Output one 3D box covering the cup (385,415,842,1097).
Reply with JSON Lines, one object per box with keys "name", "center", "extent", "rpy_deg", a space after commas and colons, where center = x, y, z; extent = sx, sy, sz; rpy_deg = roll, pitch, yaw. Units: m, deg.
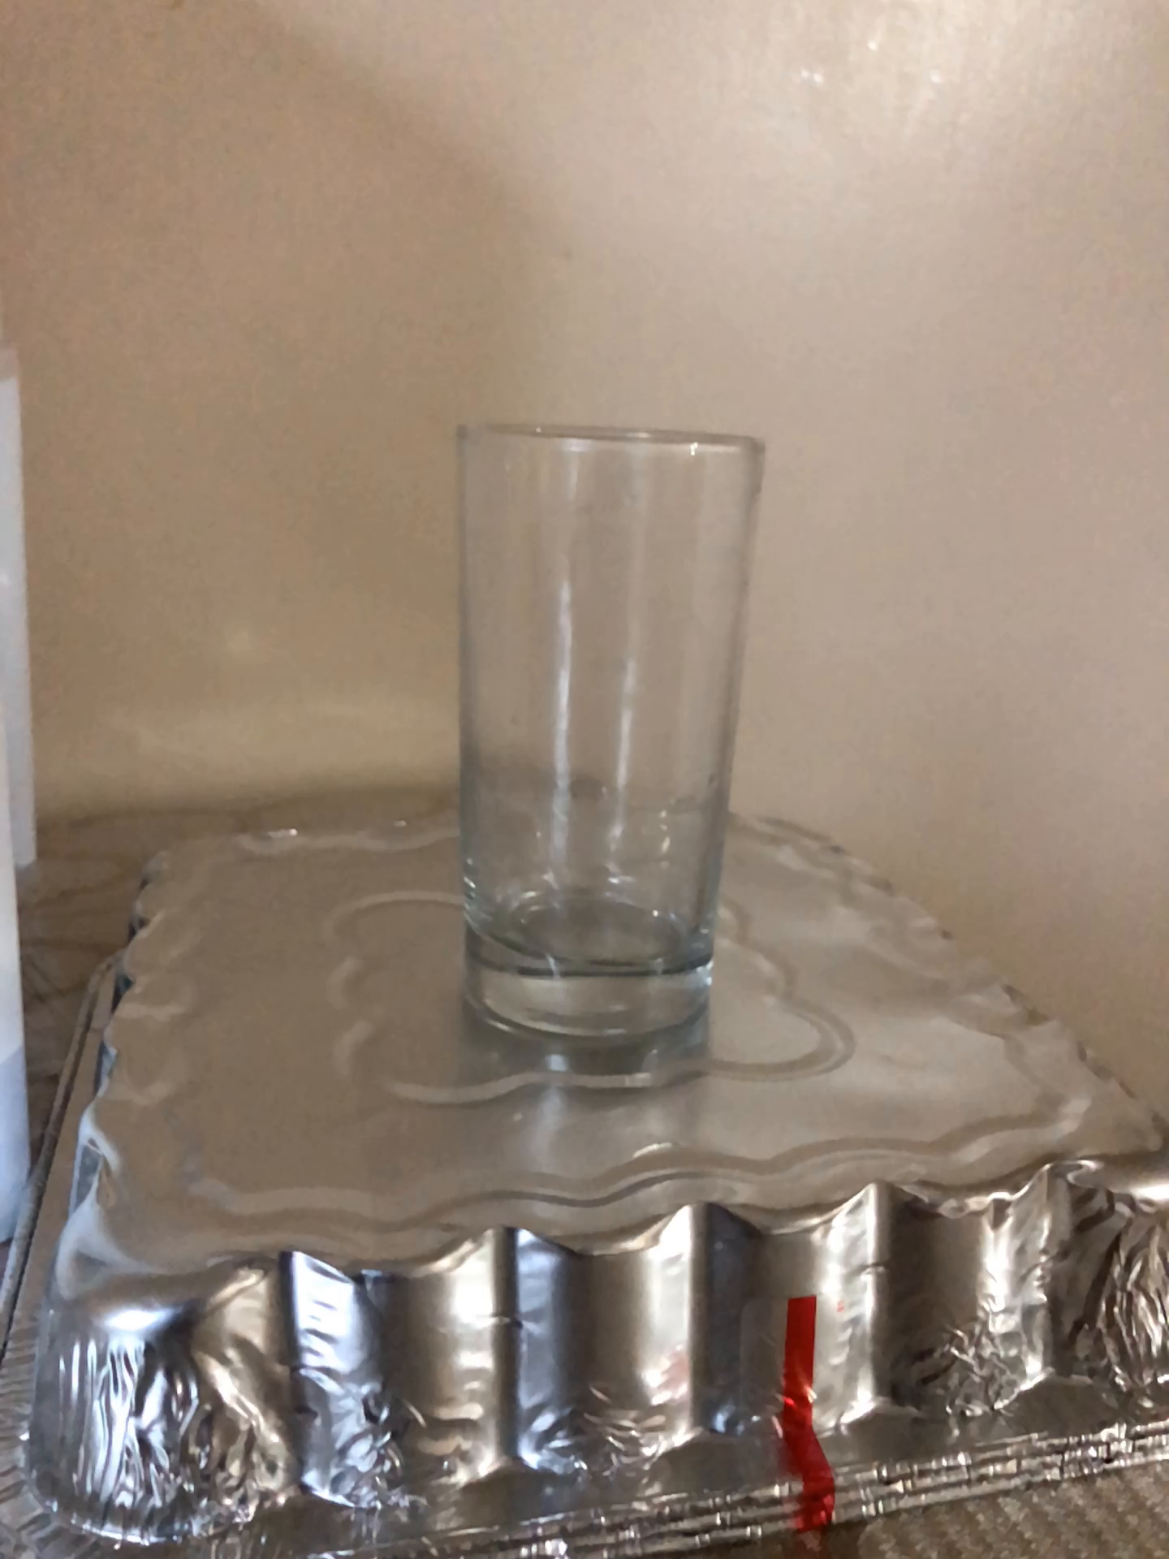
{"name": "cup", "center": [0.003, -0.010, 0.270], "extent": [0.060, 0.120, 0.060], "rpy_deg": [4, 16, -1]}
